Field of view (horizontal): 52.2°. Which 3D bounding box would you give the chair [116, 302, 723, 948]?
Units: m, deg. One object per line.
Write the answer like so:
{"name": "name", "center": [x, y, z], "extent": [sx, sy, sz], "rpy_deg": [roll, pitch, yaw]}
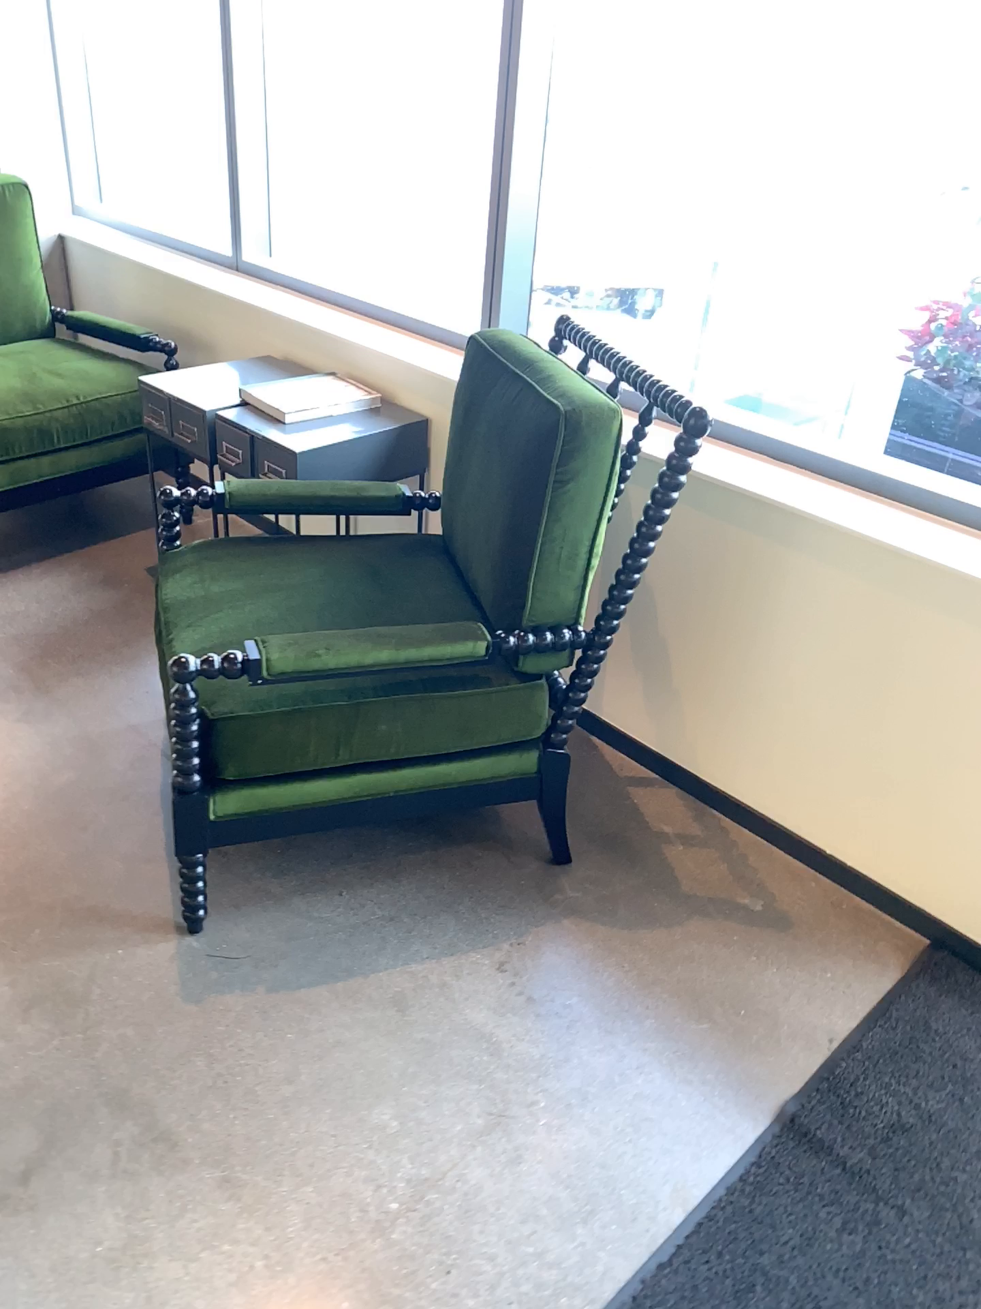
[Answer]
{"name": "chair", "center": [-0.210, -0.115, 2.041], "extent": [0.920, 0.984, 0.765], "rpy_deg": [-5, 32, -16]}

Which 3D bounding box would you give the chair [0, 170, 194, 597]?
{"name": "chair", "center": [-1.541, -0.887, 3.091], "extent": [0.923, 0.974, 0.731], "rpy_deg": [26, 37, 31]}
